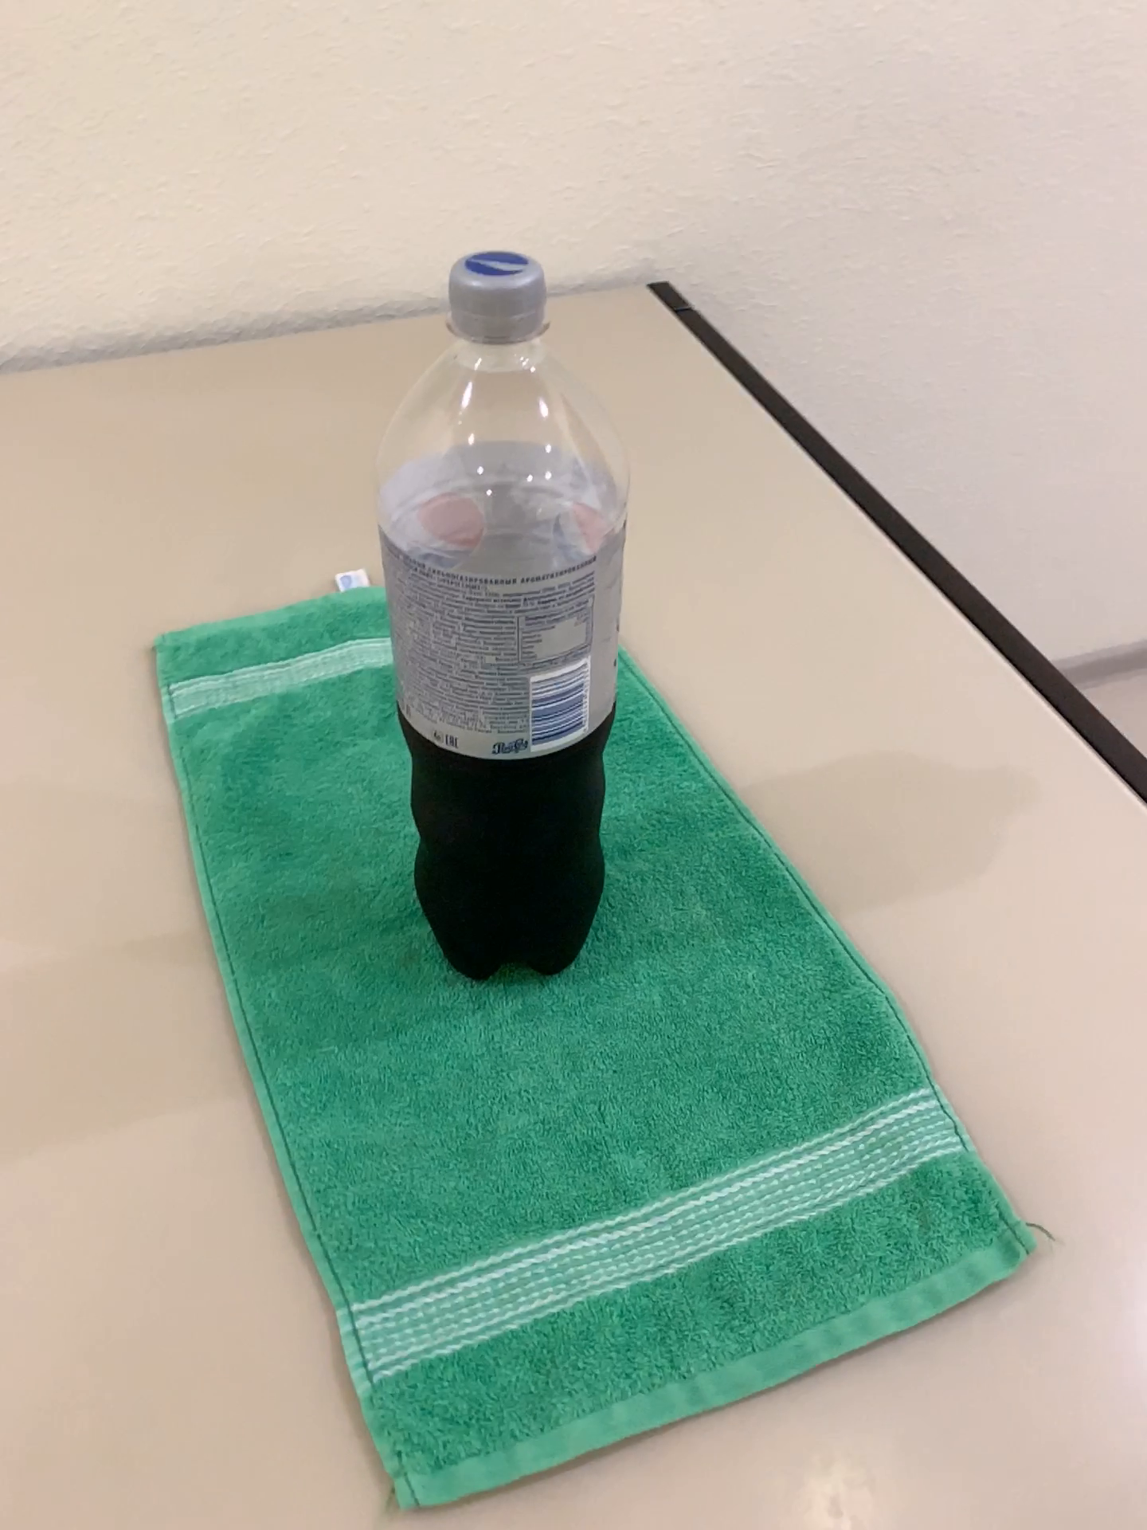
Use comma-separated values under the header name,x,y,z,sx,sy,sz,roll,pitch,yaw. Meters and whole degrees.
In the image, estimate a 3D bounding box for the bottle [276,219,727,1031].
name,x,y,z,sx,sy,sz,roll,pitch,yaw
bottle,-0.023,-0.036,0.469,0.100,0.298,0.100,1,45,-1
